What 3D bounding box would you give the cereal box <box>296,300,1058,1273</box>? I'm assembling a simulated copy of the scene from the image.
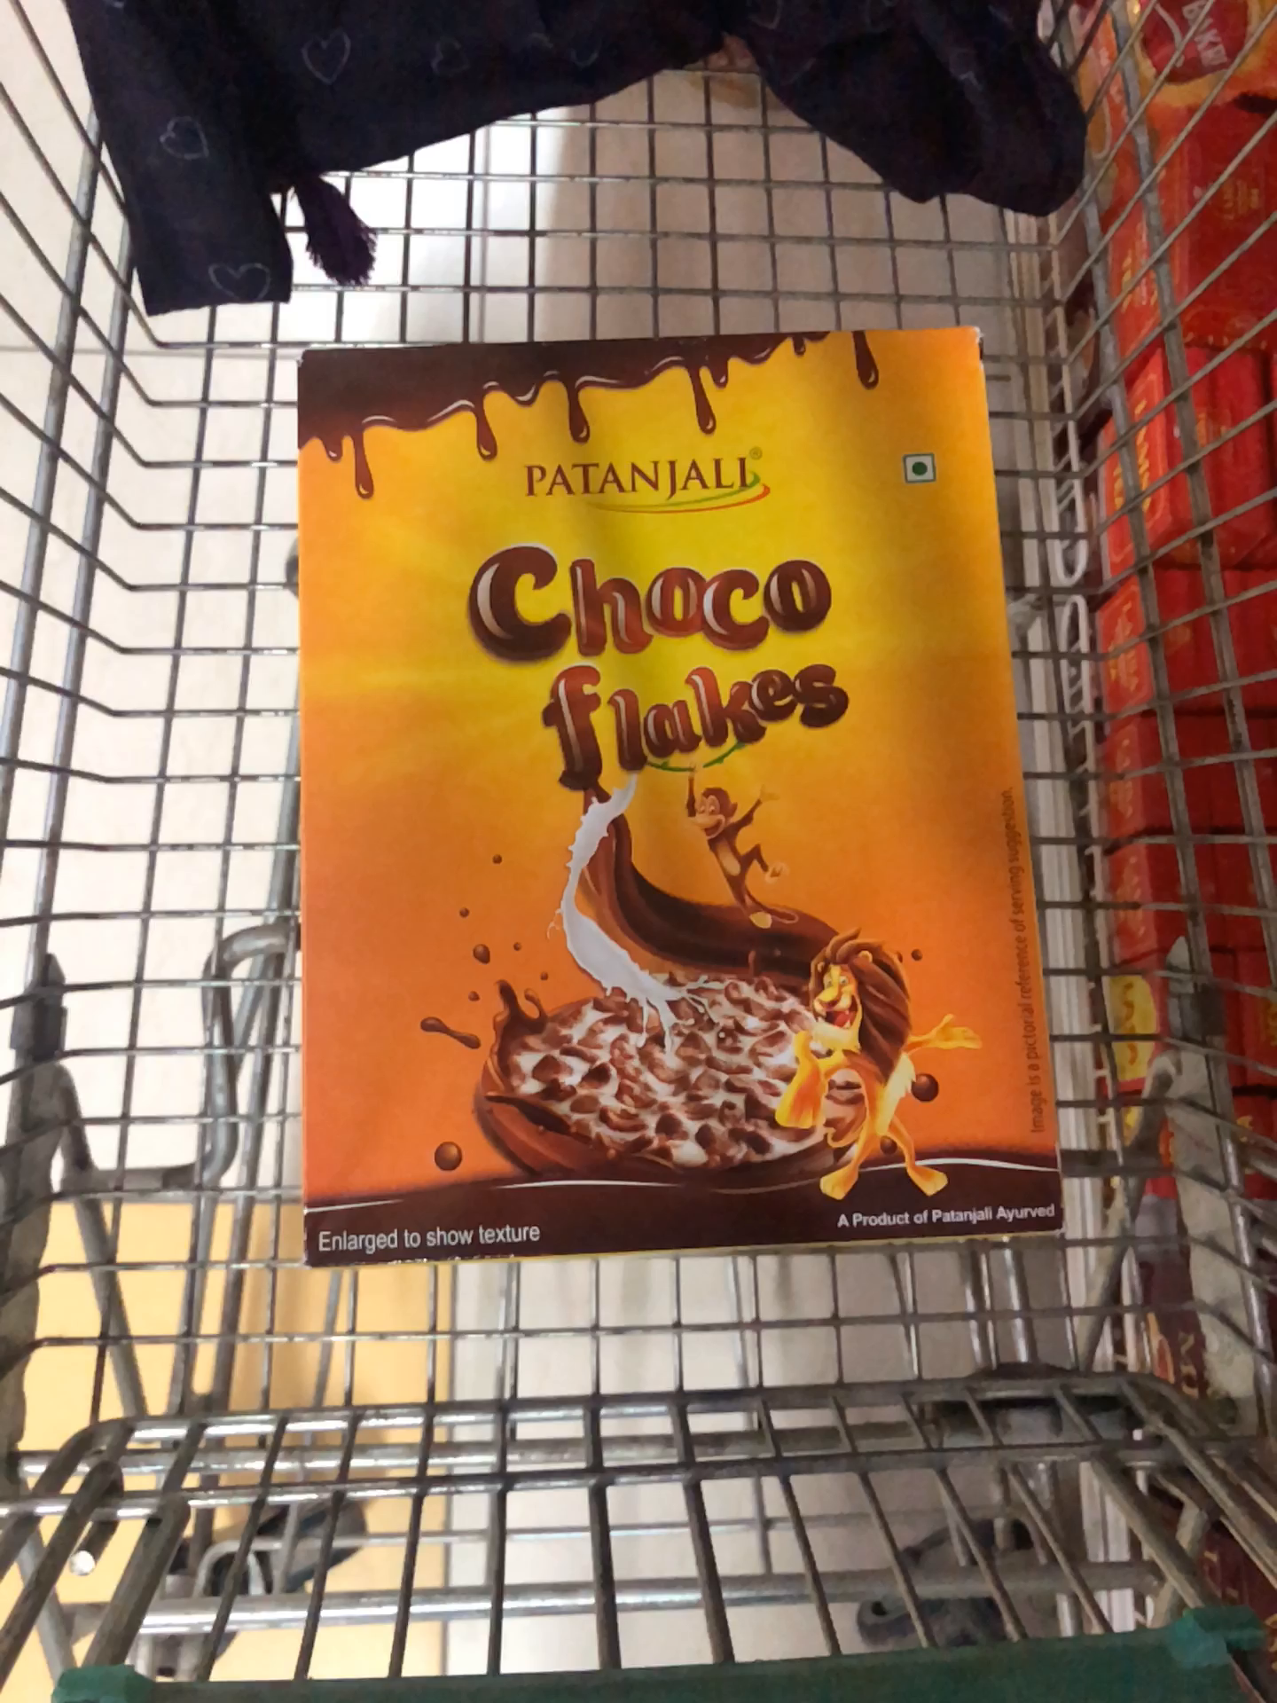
[{"bbox_3d":[0.003,-0.014,0.391,0.170,0.110,0.230,-2,80,-2],"label":"cereal box"}]
